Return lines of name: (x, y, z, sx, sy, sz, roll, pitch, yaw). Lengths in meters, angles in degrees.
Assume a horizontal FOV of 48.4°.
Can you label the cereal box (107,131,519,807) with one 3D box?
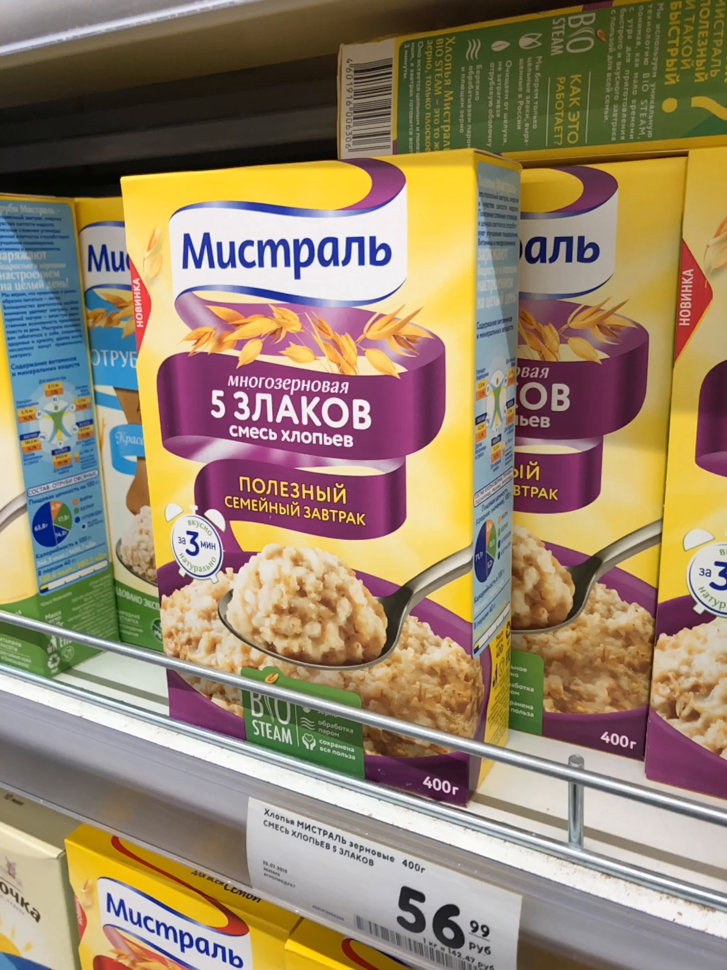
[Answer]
cereal box: (-0.016, -0.006, 0.295, 0.130, 0.209, 0.050, 6, 17, 28)
